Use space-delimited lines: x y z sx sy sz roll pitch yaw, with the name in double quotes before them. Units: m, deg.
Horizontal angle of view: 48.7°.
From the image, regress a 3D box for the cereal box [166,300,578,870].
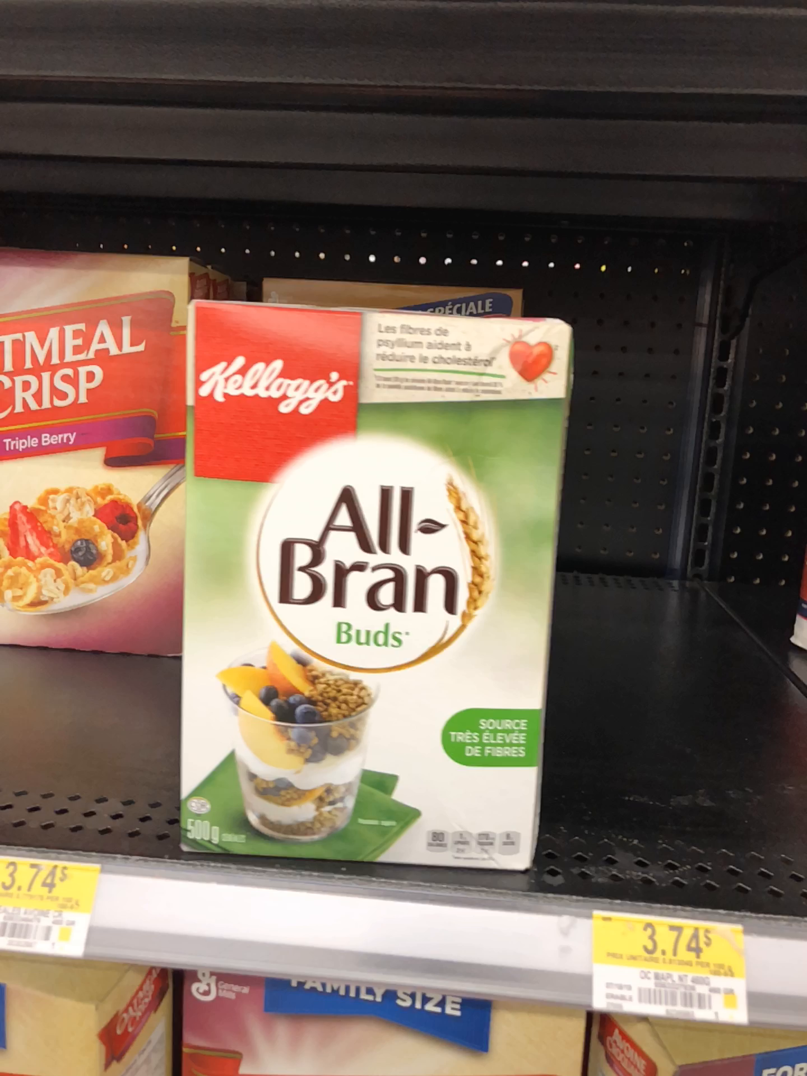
"cereal box" -0.016 0.019 0.369 0.150 0.219 0.050 3 11 1
